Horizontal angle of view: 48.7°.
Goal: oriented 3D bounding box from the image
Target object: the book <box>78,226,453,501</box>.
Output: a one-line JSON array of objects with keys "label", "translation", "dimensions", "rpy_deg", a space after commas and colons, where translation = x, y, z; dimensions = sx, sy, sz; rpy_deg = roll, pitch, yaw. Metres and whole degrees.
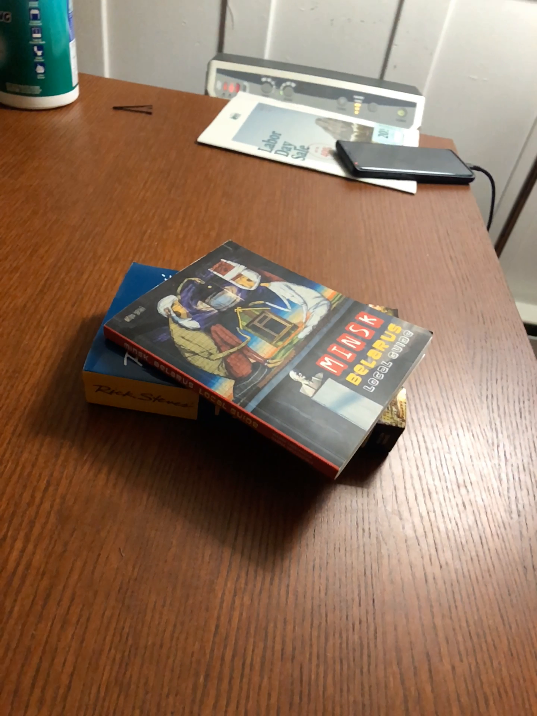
[{"label": "book", "translation": [0.004, -0.013, 0.383], "dimensions": [0.190, 0.020, 0.151], "rpy_deg": [28, 44, 18]}]

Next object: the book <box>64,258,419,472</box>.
[{"label": "book", "translation": [-0.012, -0.001, 0.425], "dimensions": [0.220, 0.040, 0.131], "rpy_deg": [10, 41, -1]}]
